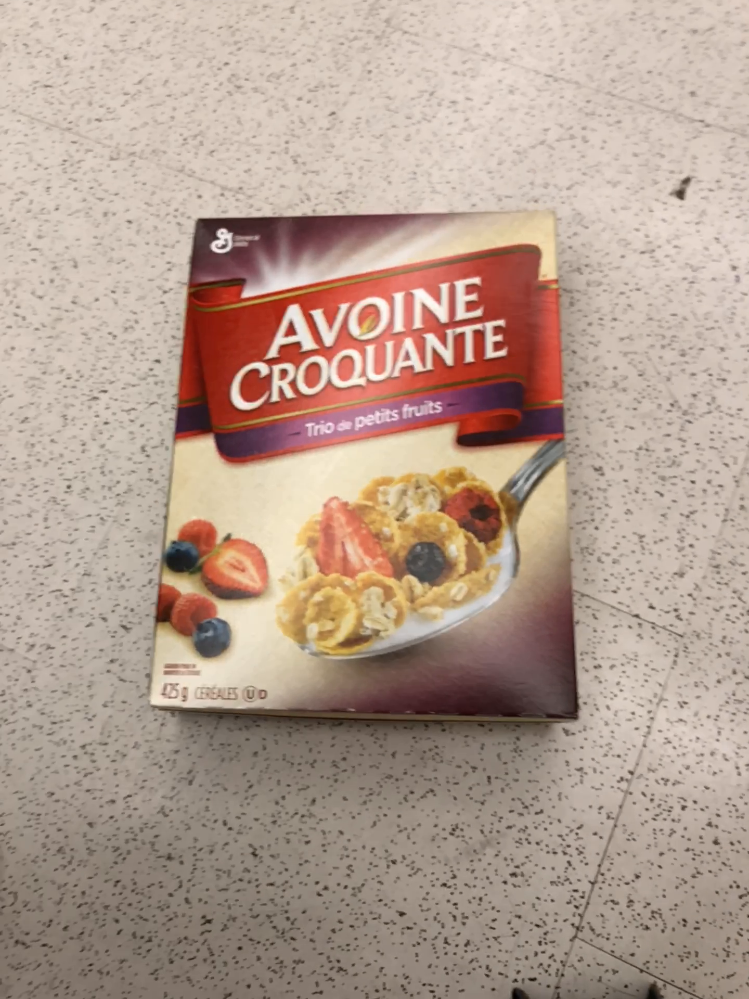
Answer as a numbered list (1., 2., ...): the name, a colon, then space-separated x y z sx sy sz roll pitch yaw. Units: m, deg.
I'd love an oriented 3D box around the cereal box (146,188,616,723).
1. cereal box: 0.007 -0.027 0.439 0.210 0.060 0.270 1 74 4
